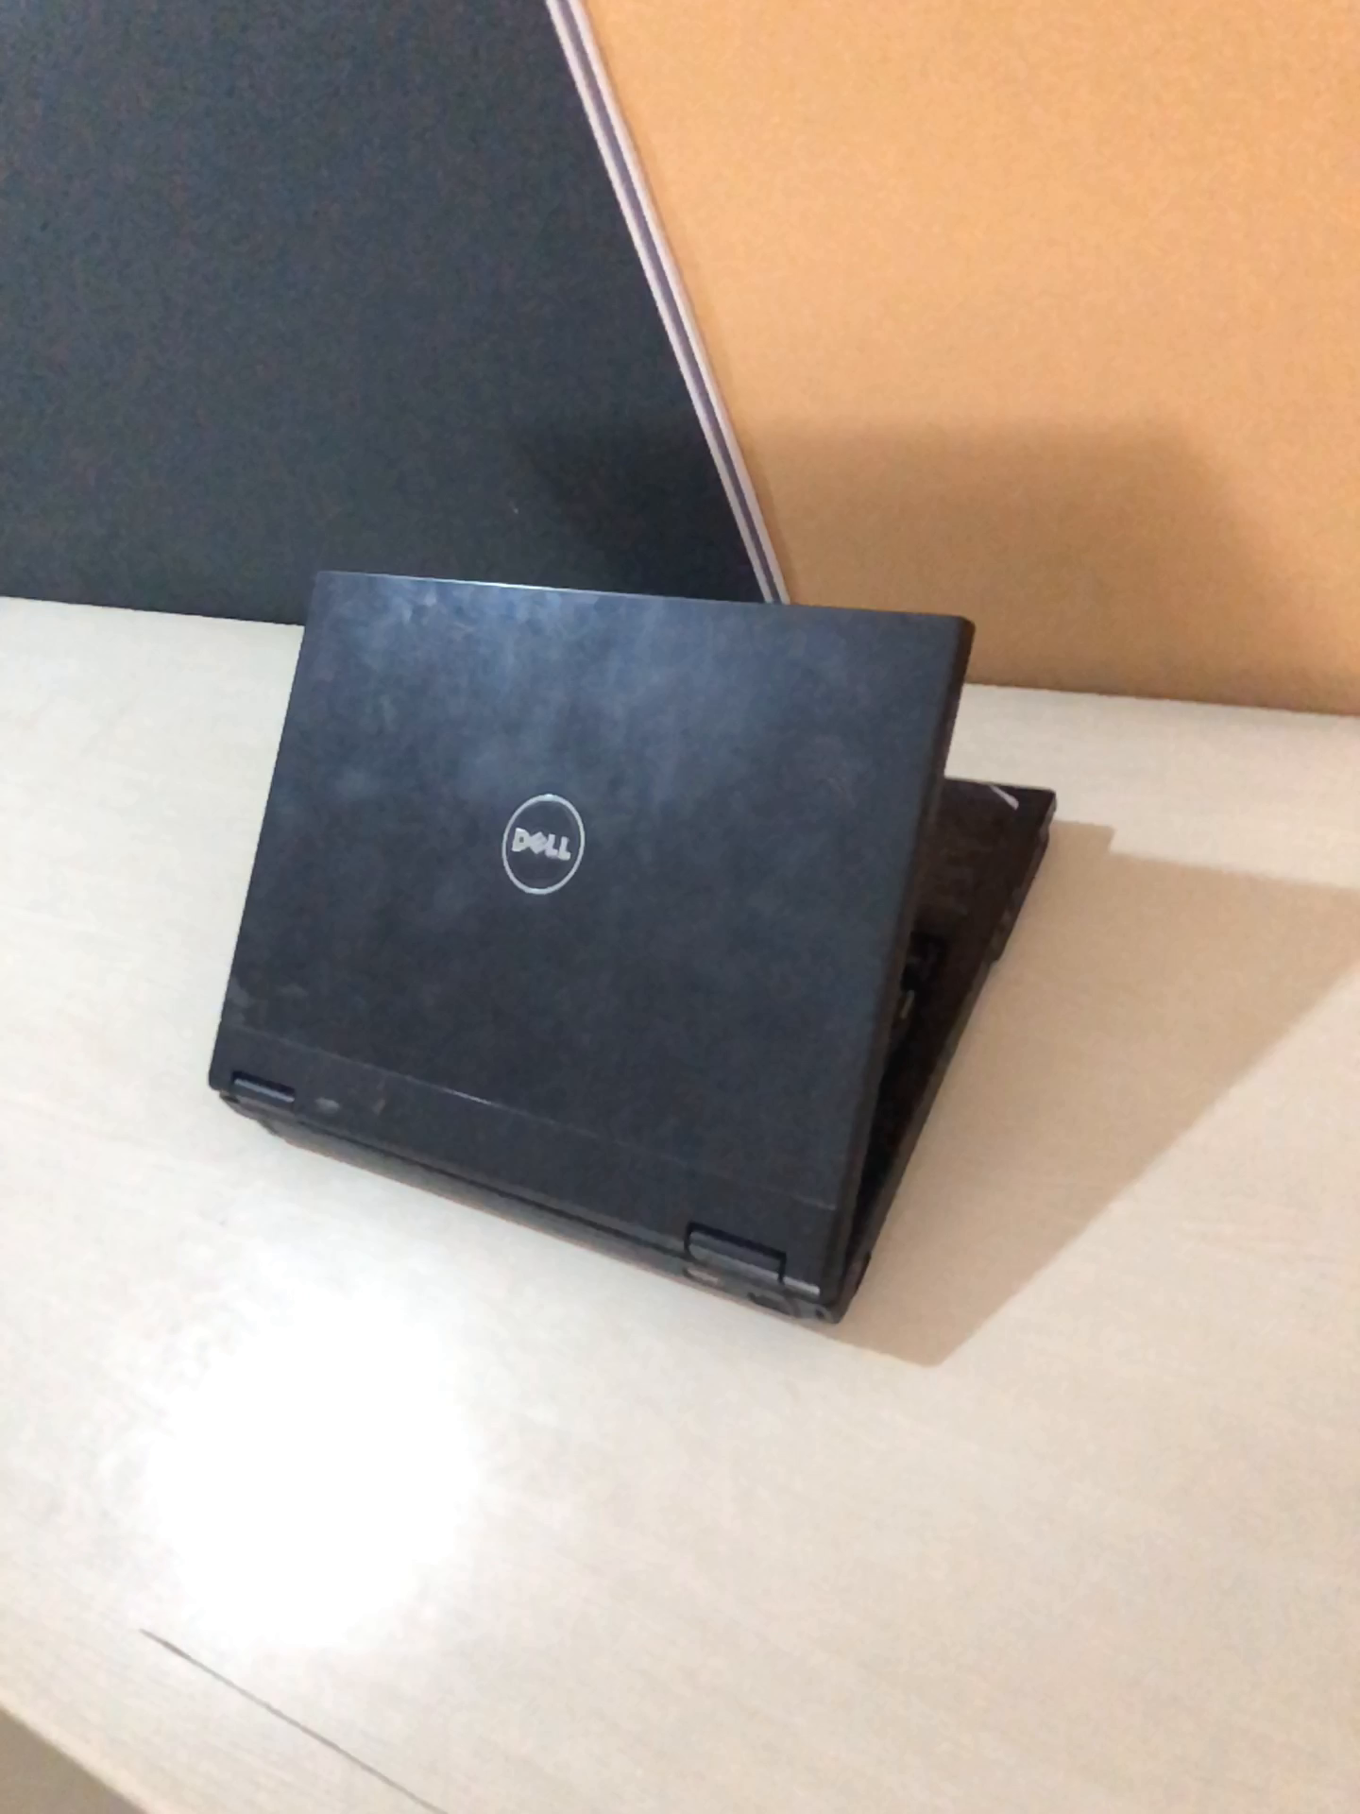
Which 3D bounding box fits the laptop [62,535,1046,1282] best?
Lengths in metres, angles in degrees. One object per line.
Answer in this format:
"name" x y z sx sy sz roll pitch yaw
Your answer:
"laptop" -0.045 -0.021 0.598 0.303 0.126 0.225 10 57 32
